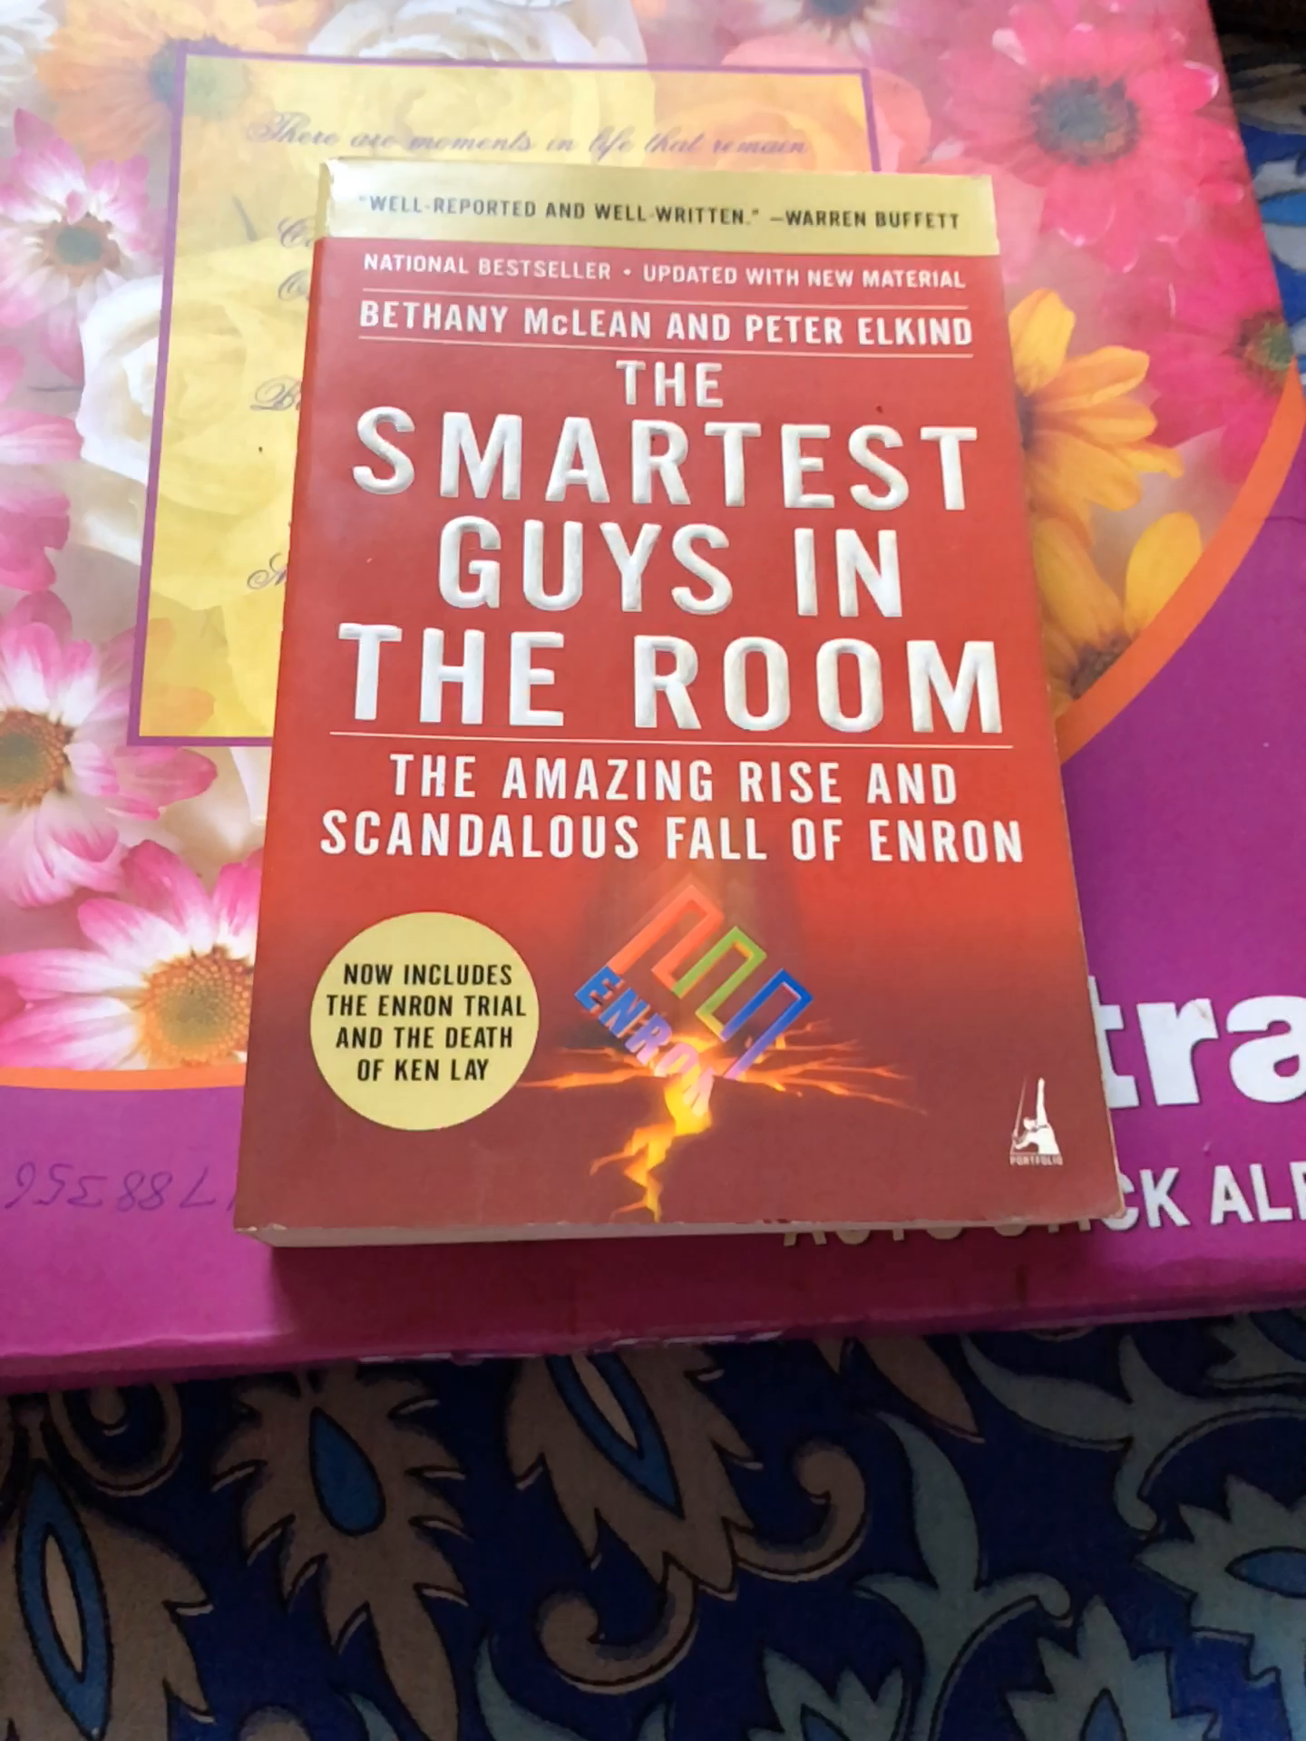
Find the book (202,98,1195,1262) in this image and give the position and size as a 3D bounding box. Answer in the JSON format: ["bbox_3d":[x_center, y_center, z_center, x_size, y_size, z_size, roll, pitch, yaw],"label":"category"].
[{"bbox_3d":[0.006,-0.042,0.275,0.150,0.040,0.220,-1,71,0],"label":"book"}]
